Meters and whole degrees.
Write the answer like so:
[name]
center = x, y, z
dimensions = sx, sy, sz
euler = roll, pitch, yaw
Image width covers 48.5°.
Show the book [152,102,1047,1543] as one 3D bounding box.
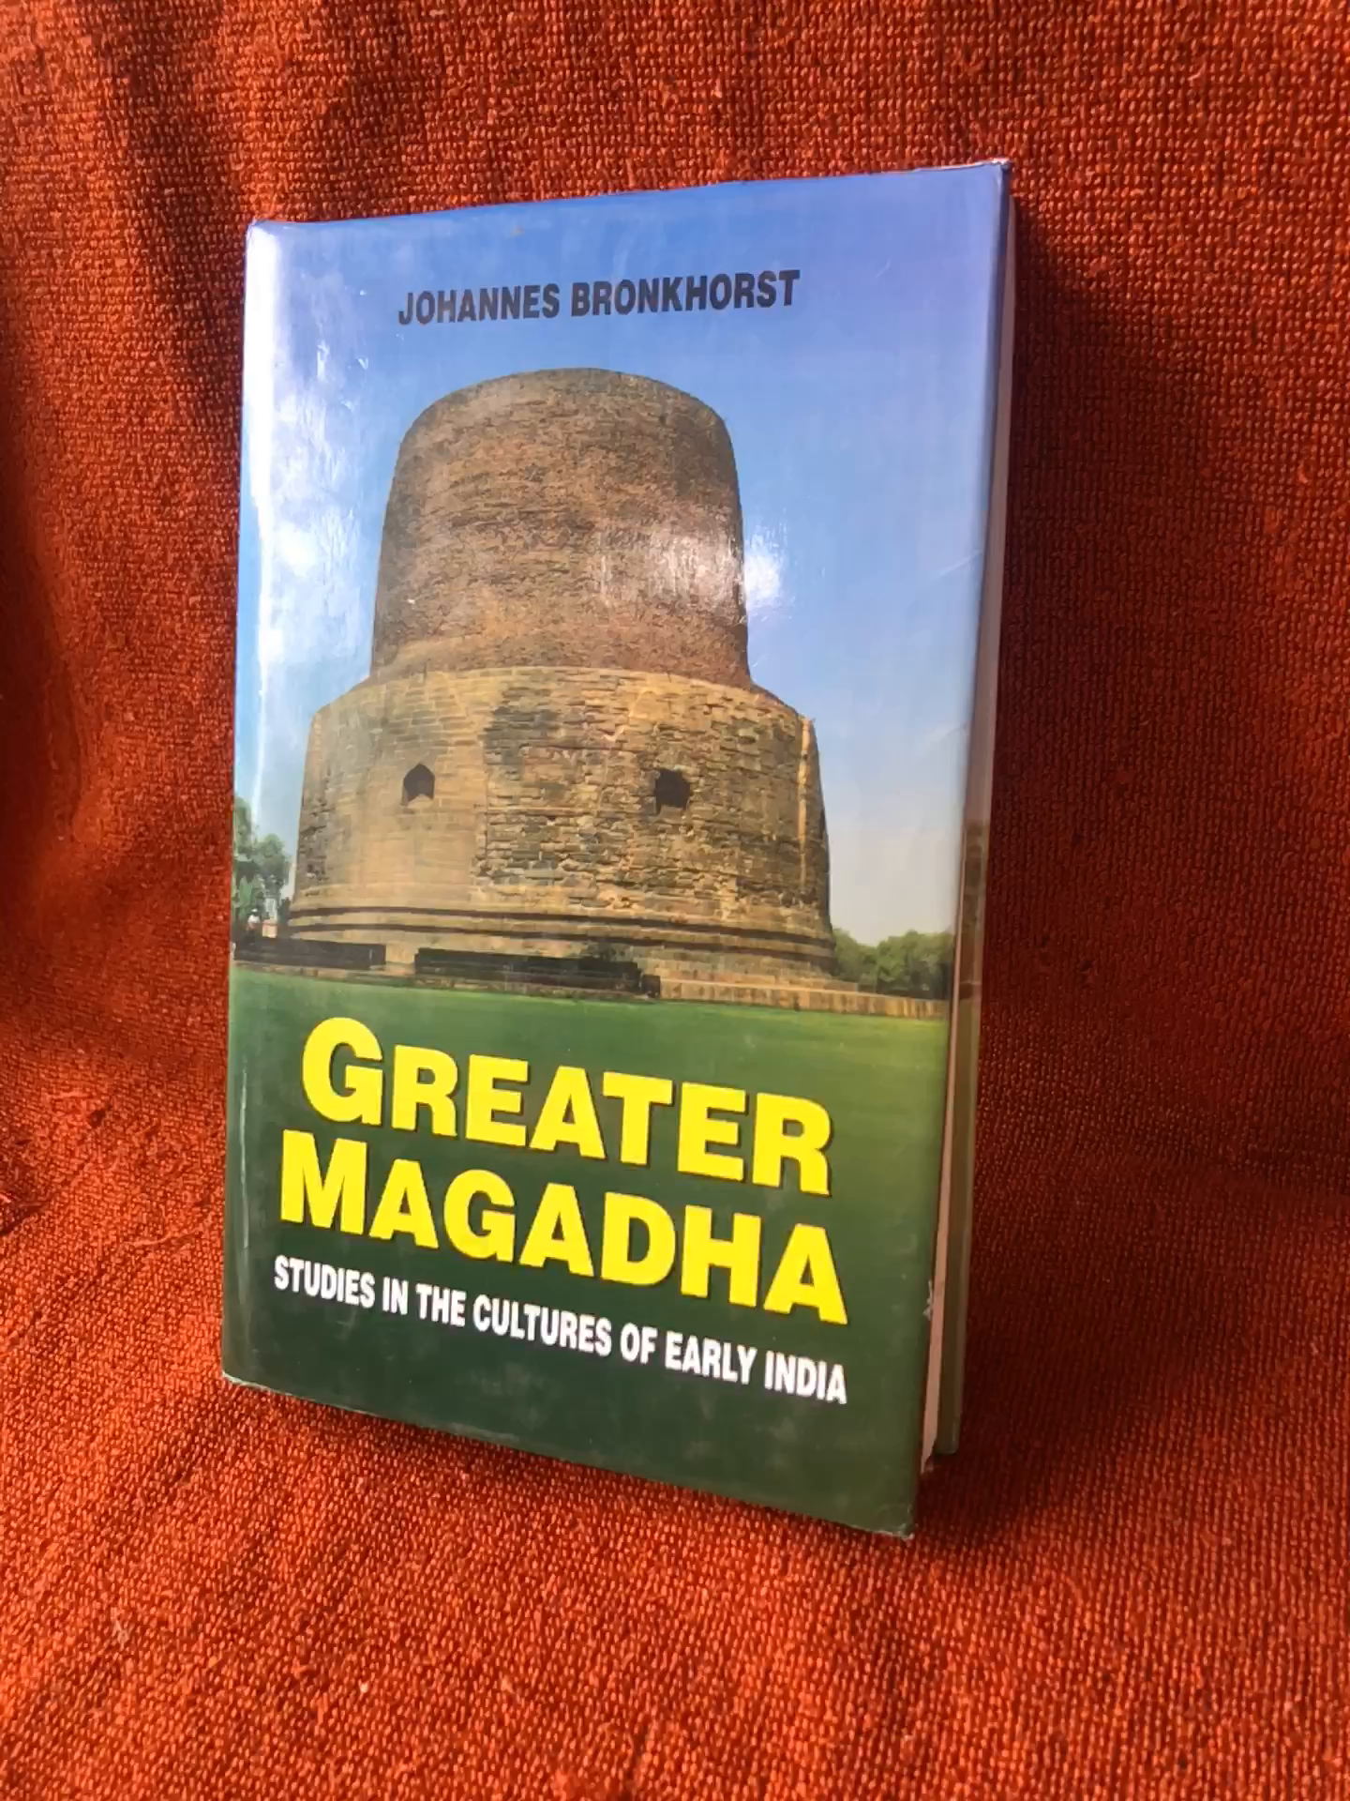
[book]
center = -0.021, -0.014, 0.268
dimensions = 0.150, 0.220, 0.030
euler = 6, 7, 20
